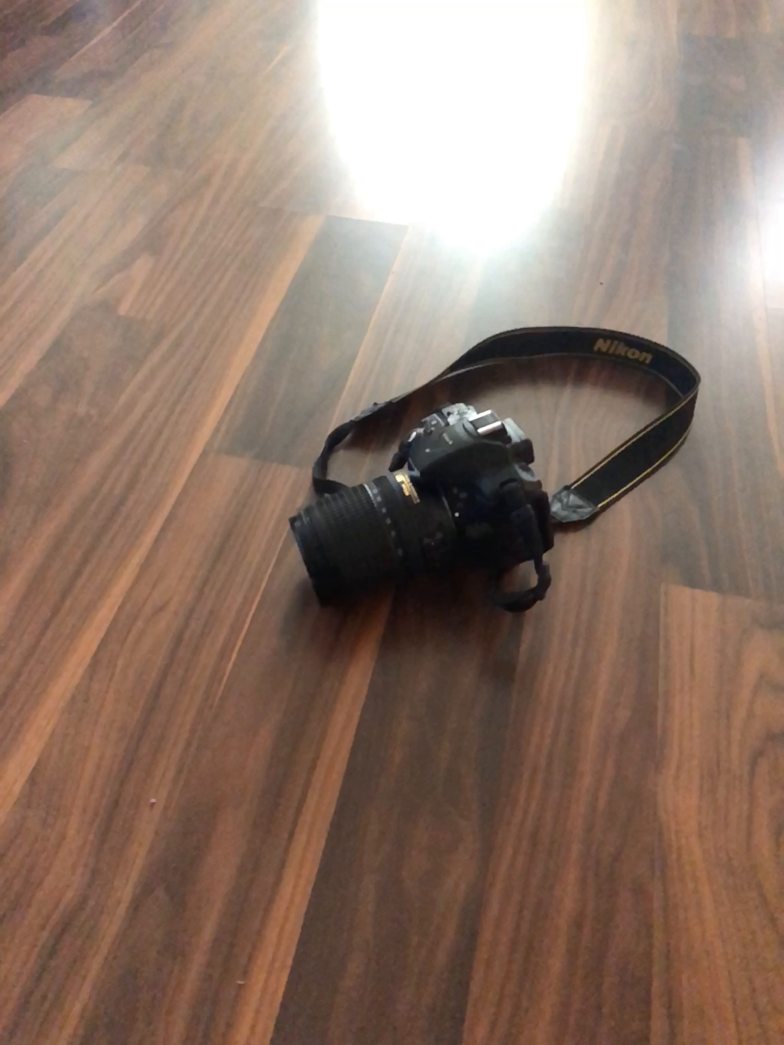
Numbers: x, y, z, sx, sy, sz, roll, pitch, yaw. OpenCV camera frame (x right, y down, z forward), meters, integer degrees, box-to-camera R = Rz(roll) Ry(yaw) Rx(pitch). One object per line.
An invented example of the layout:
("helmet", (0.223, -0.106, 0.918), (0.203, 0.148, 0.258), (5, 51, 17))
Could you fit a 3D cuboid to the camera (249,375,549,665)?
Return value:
("camera", (0.006, -0.002, 0.647), (0.180, 0.130, 0.110), (-19, 51, -11))
